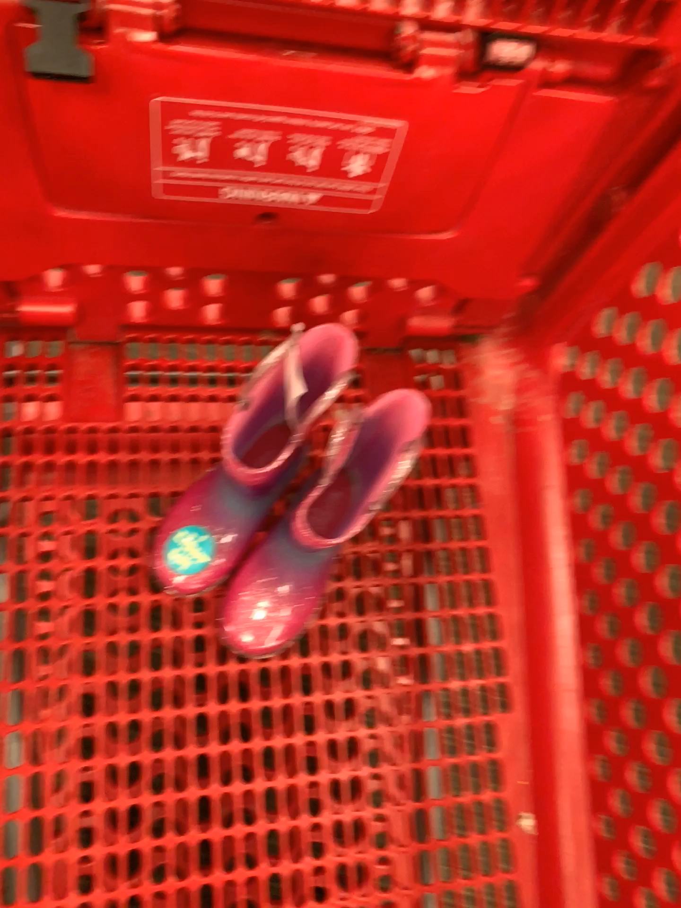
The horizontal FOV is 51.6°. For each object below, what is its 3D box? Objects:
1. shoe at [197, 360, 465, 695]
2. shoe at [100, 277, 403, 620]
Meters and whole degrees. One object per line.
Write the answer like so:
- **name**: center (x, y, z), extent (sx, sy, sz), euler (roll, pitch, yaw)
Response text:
- **shoe**: center (-0.013, 0.053, 0.481), extent (0.070, 0.140, 0.190), euler (33, 71, -4)
- **shoe**: center (-0.059, 0.005, 0.471), extent (0.070, 0.140, 0.200), euler (36, 71, -3)
